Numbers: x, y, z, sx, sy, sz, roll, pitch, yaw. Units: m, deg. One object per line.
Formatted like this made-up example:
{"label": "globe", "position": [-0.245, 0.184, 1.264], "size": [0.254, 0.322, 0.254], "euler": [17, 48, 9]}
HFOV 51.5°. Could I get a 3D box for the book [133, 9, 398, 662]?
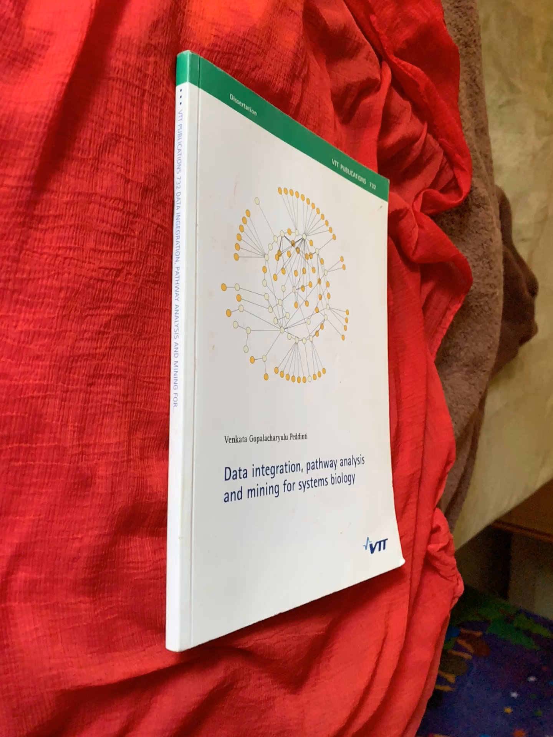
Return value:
{"label": "book", "position": [0.010, -0.013, 0.309], "size": [0.181, 0.020, 0.270], "euler": [7, 82, -48]}
